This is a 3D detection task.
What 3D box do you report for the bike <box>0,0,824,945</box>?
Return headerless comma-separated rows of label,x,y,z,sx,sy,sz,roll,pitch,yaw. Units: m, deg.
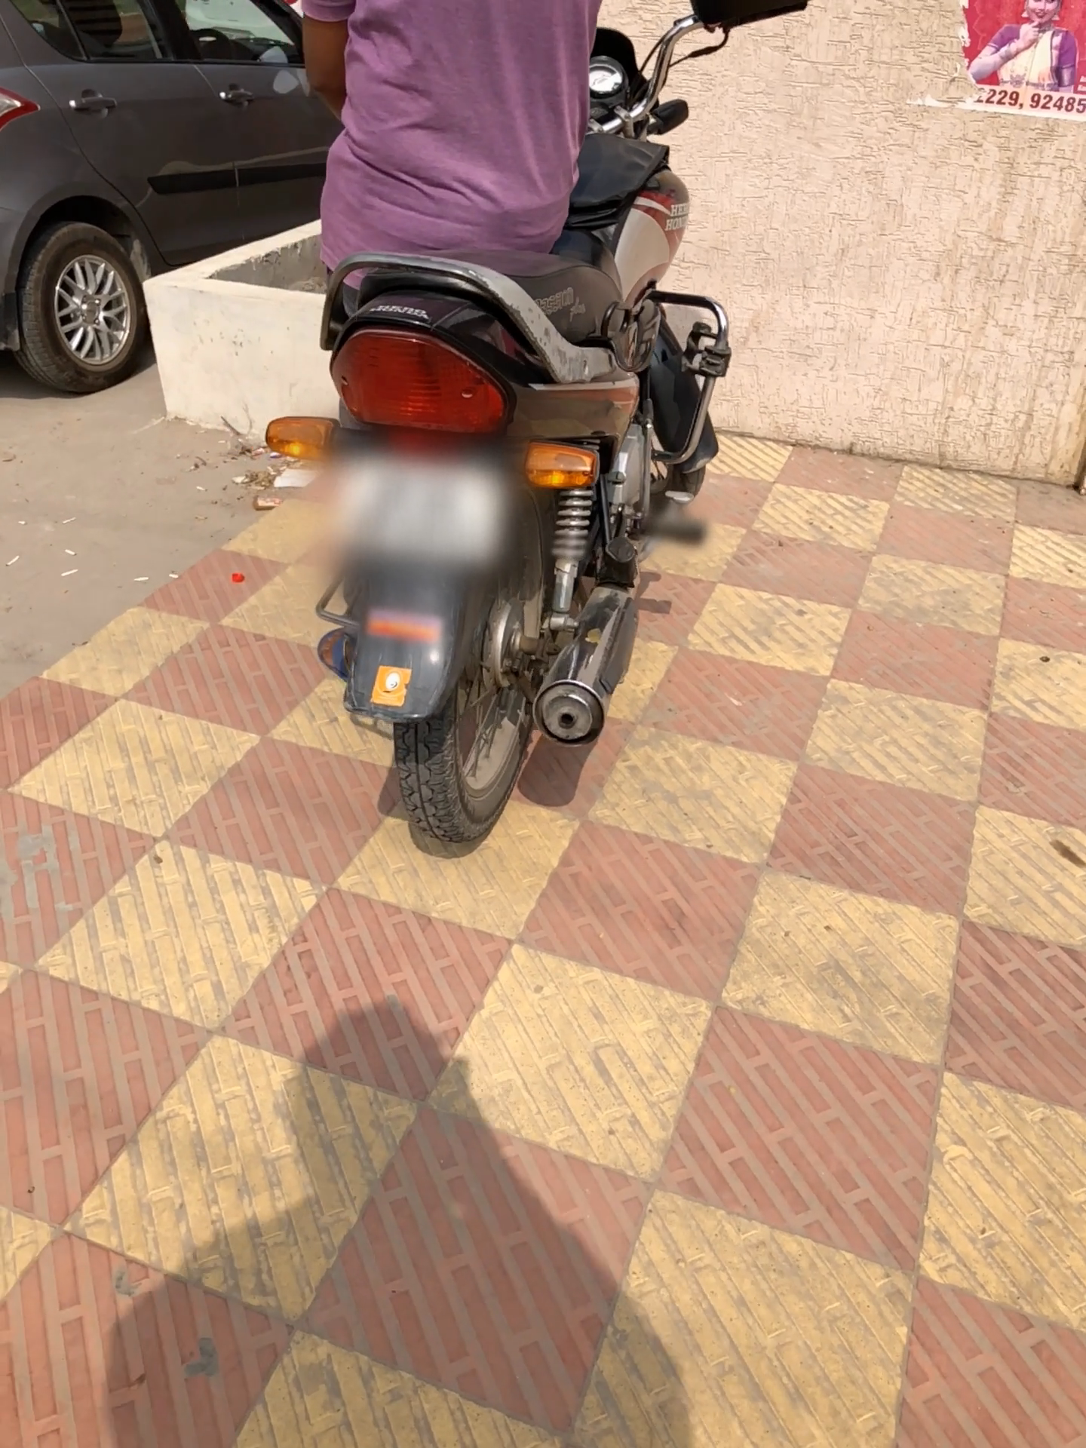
bike,-0.137,-0.680,2.159,0.891,1.066,1.734,4,35,4
